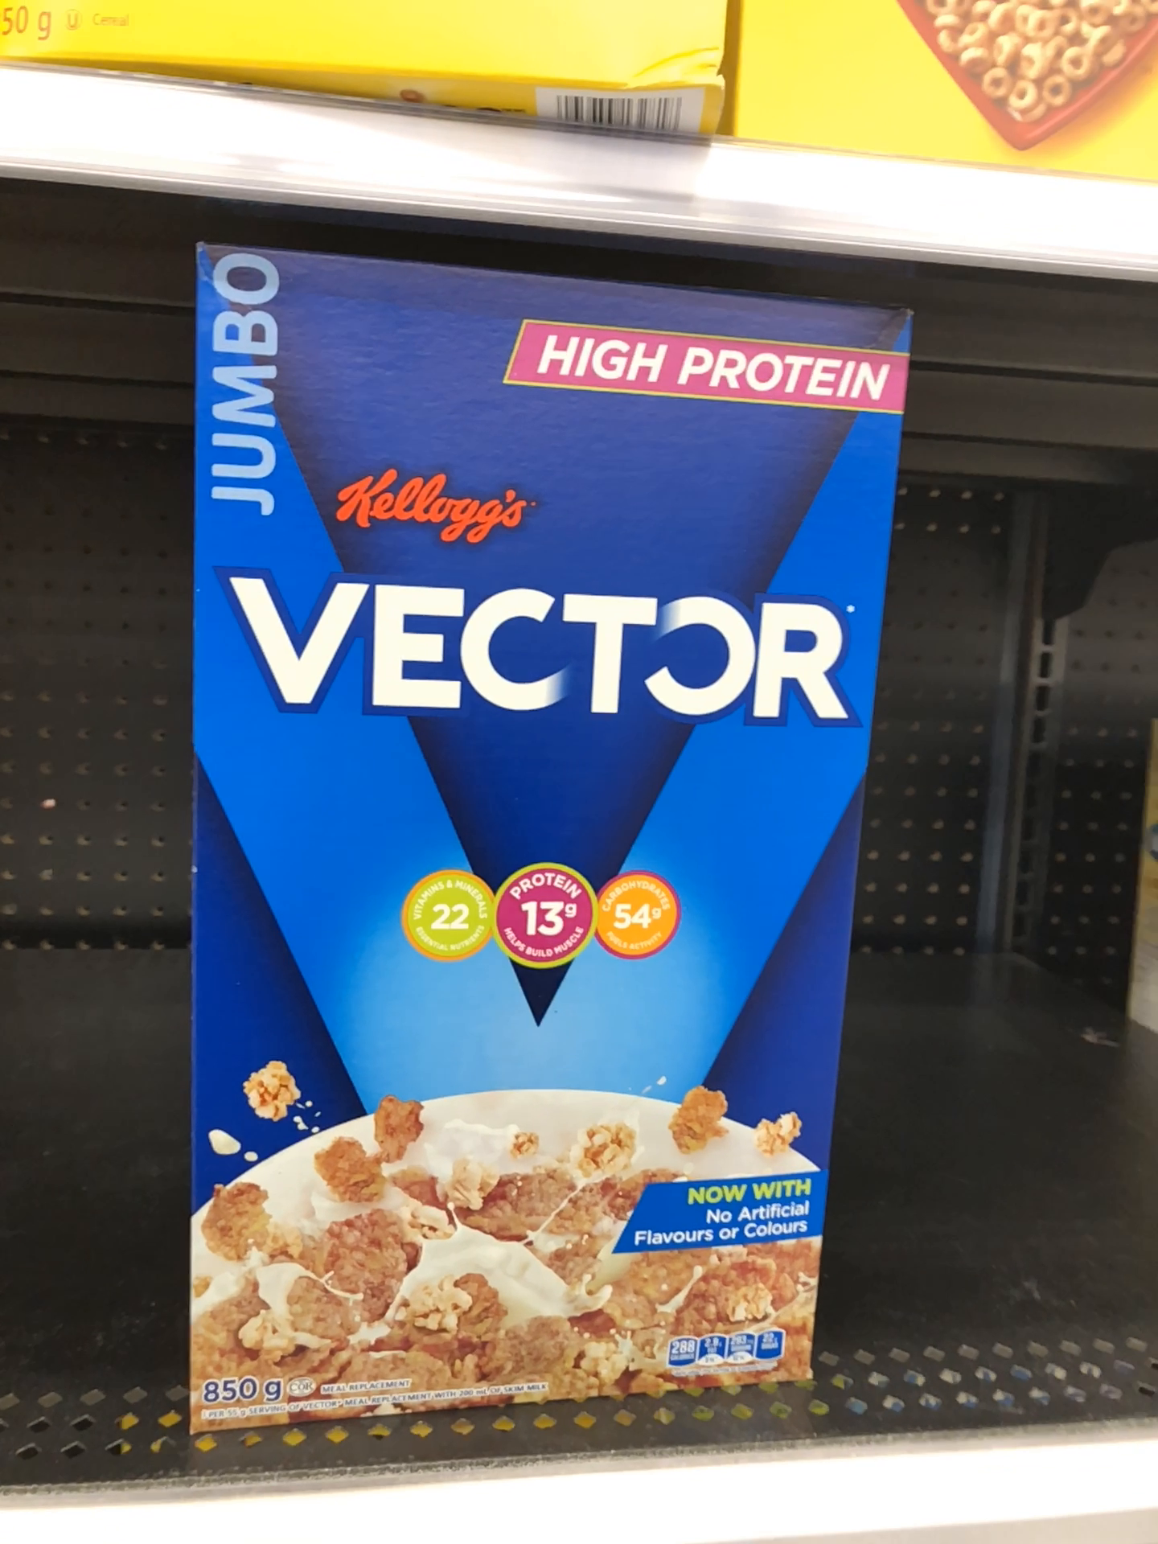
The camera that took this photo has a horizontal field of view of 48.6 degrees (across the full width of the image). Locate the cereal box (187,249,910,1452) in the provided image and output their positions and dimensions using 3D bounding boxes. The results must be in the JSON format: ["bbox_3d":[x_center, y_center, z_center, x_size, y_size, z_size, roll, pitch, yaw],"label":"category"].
[{"bbox_3d":[-0.019,0.030,0.420,0.200,0.349,0.080,1,10,-11],"label":"cereal box"}]
